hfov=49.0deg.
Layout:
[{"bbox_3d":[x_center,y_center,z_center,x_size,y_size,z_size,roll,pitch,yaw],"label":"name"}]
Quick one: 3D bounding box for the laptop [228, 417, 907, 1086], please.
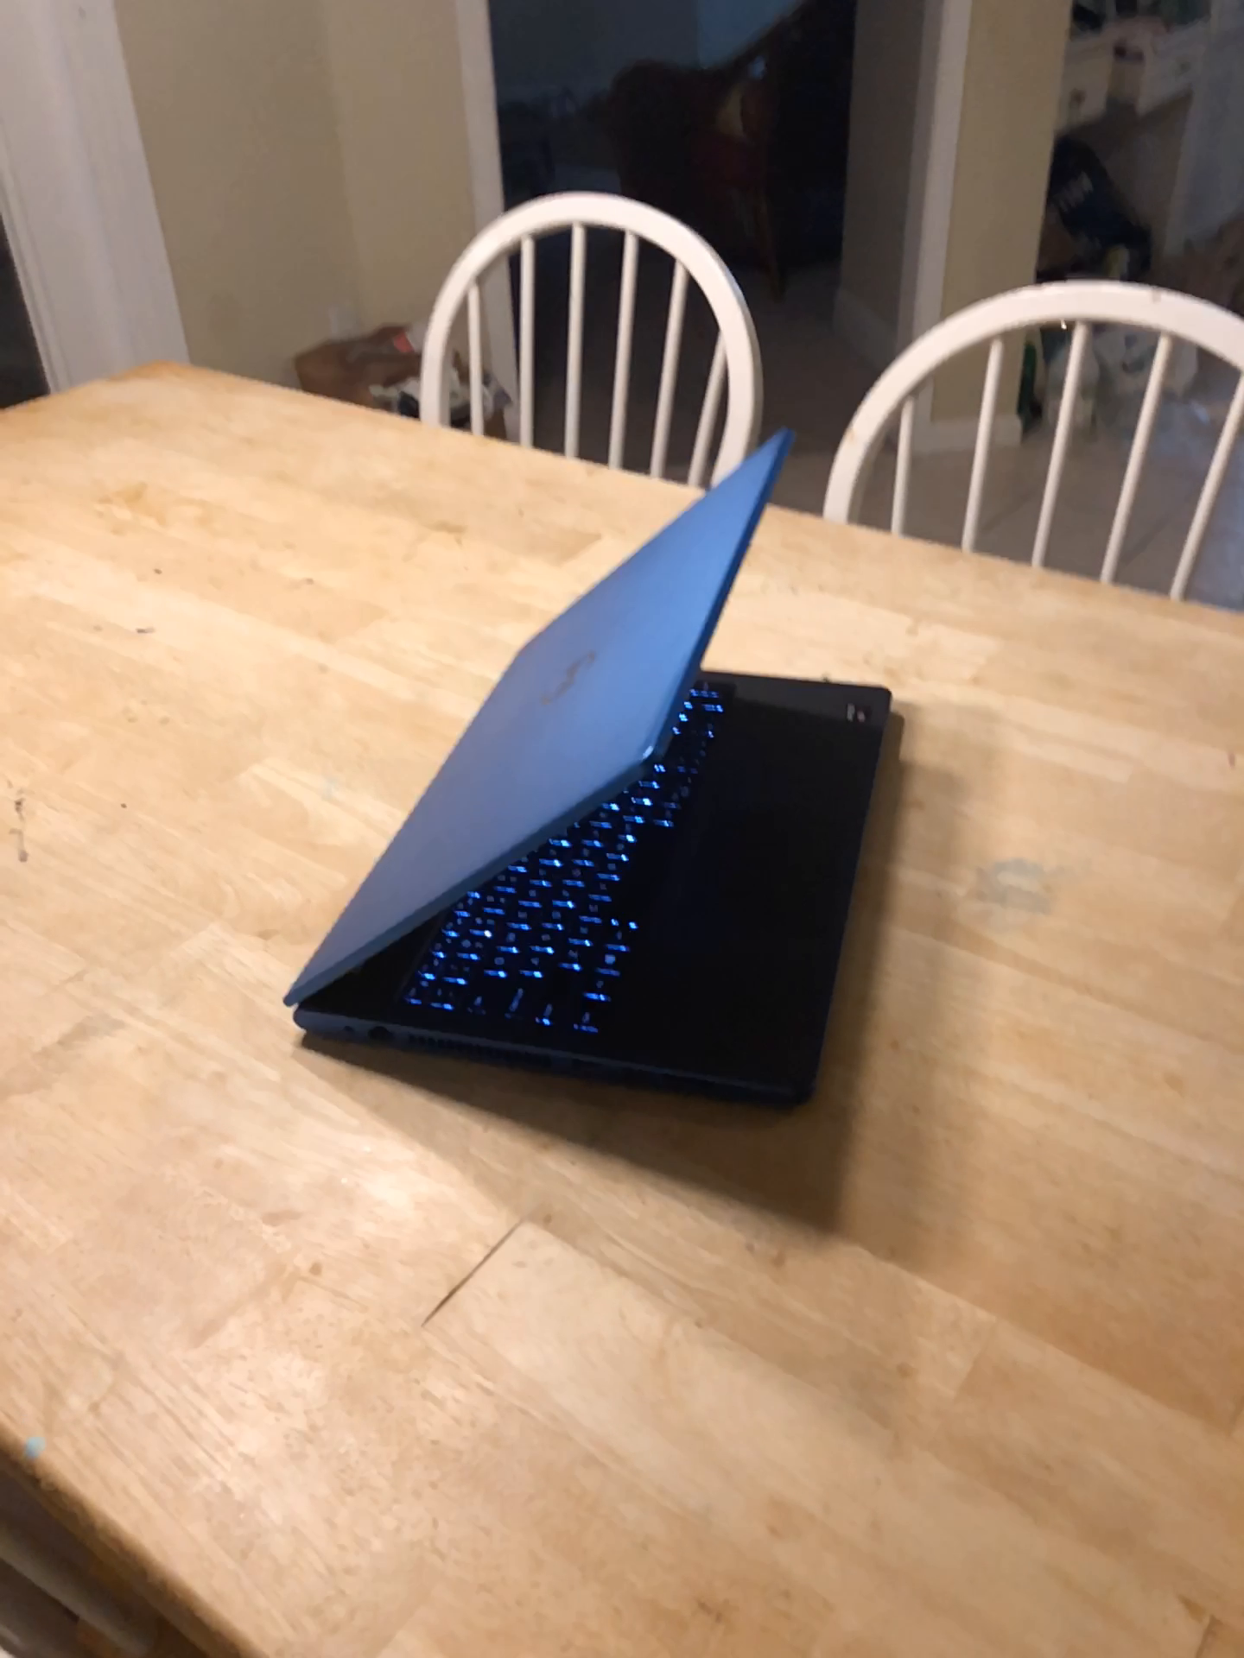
[{"bbox_3d":[0.006,-0.070,0.721,0.248,0.160,0.363,7,37,11],"label":"laptop"}]
